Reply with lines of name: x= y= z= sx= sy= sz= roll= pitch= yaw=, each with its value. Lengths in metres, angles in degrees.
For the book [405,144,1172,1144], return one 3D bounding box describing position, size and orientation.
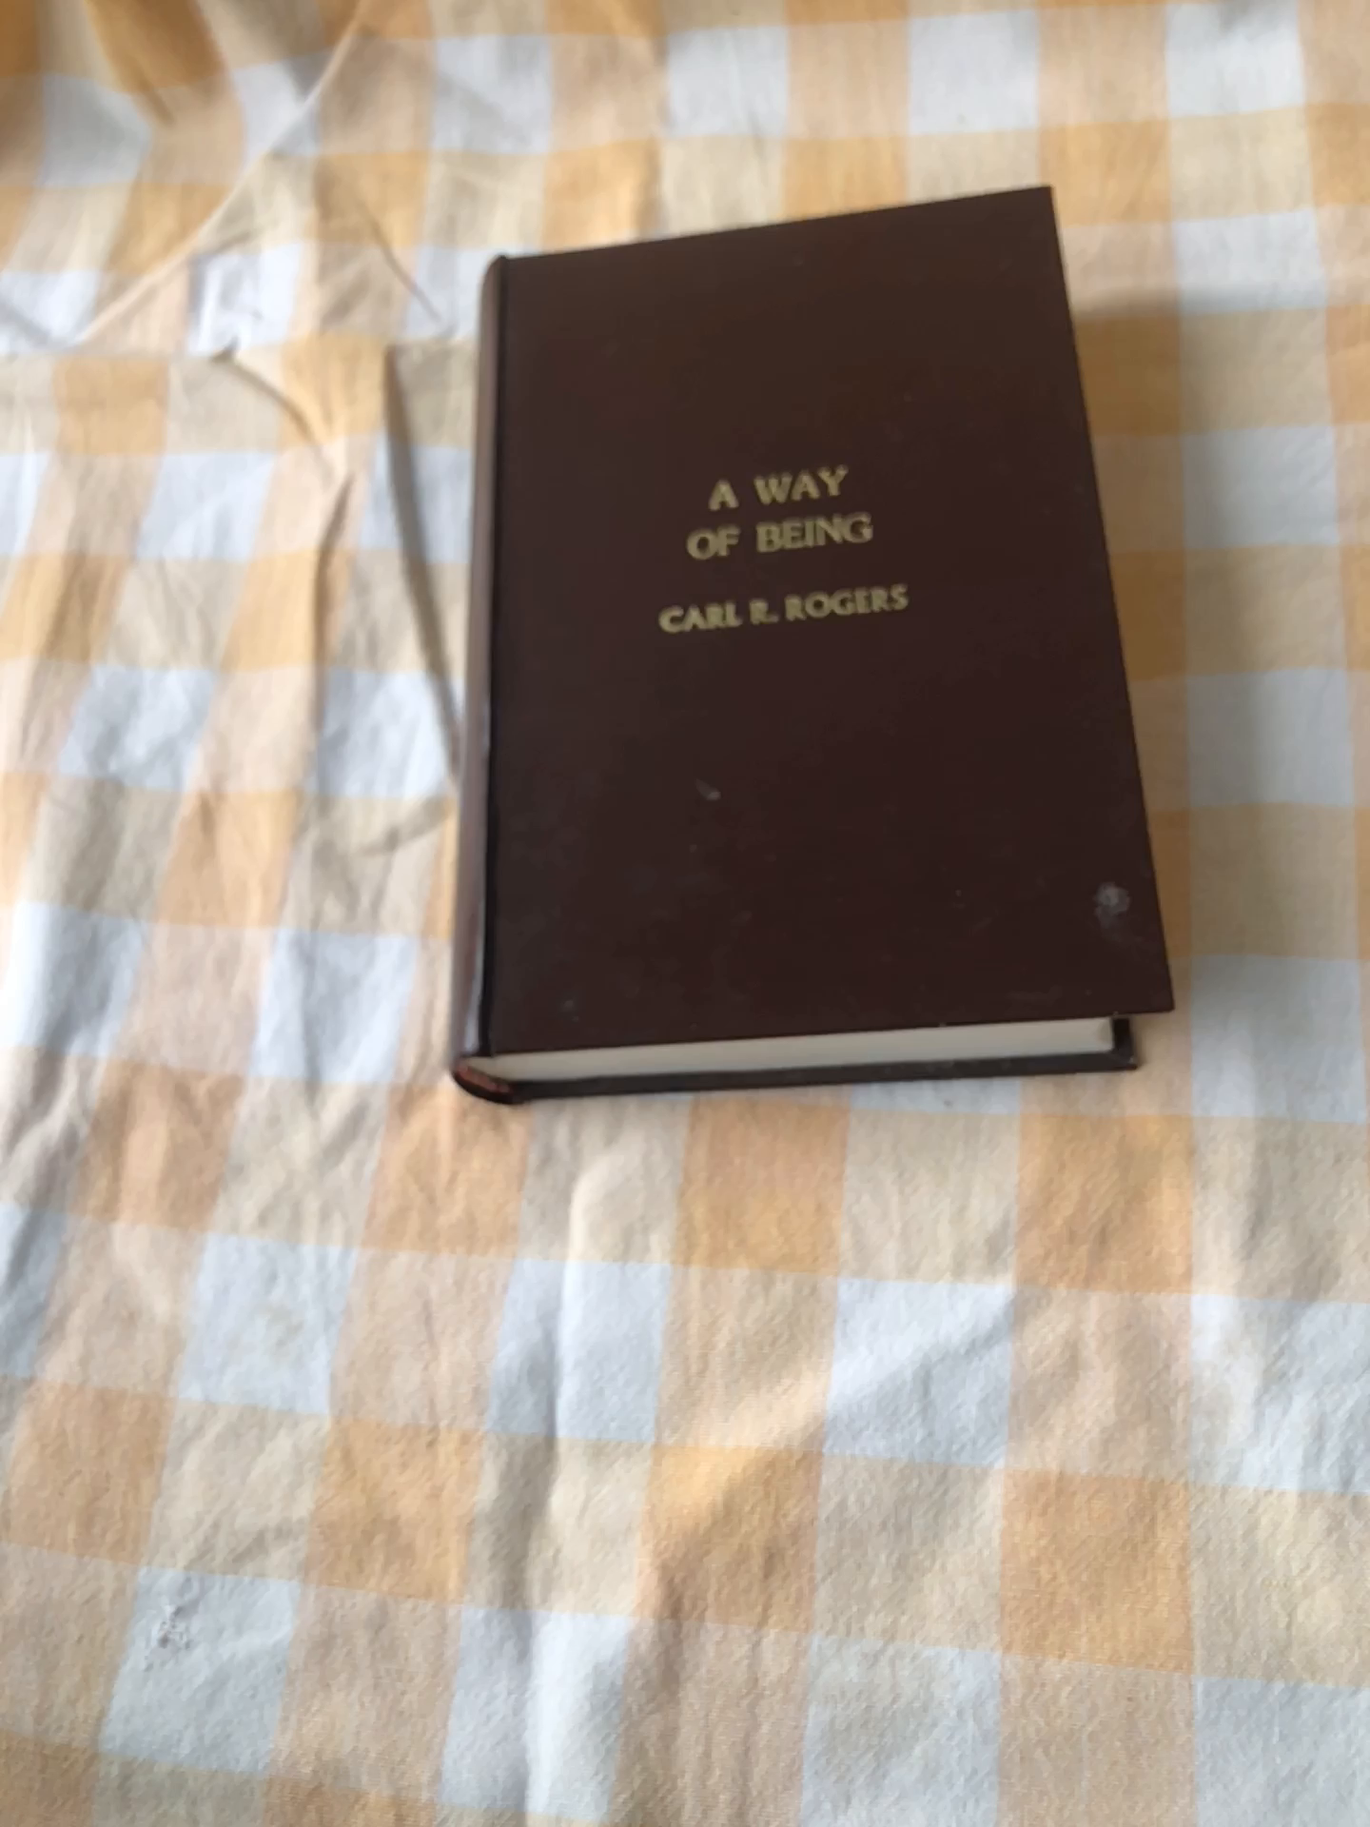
book: x=0.020 y=-0.062 z=0.346 sx=0.140 sy=0.060 sz=0.210 roll=-4 pitch=68 yaw=8
